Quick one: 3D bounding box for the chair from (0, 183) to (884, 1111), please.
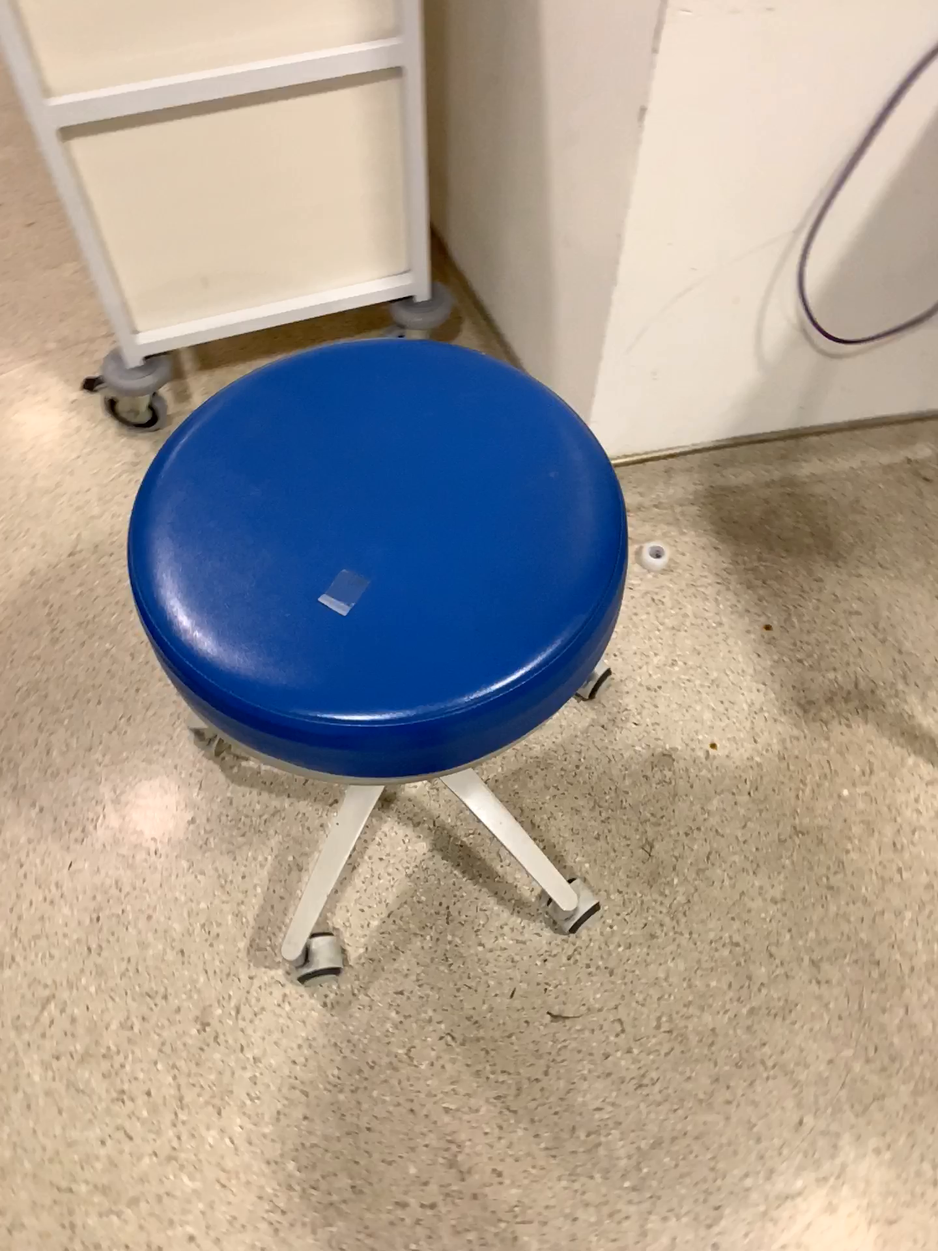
[{"bbox_3d":[-0.089,0.053,1.033,0.581,0.636,0.573,-29,63,-17],"label":"chair"}]
